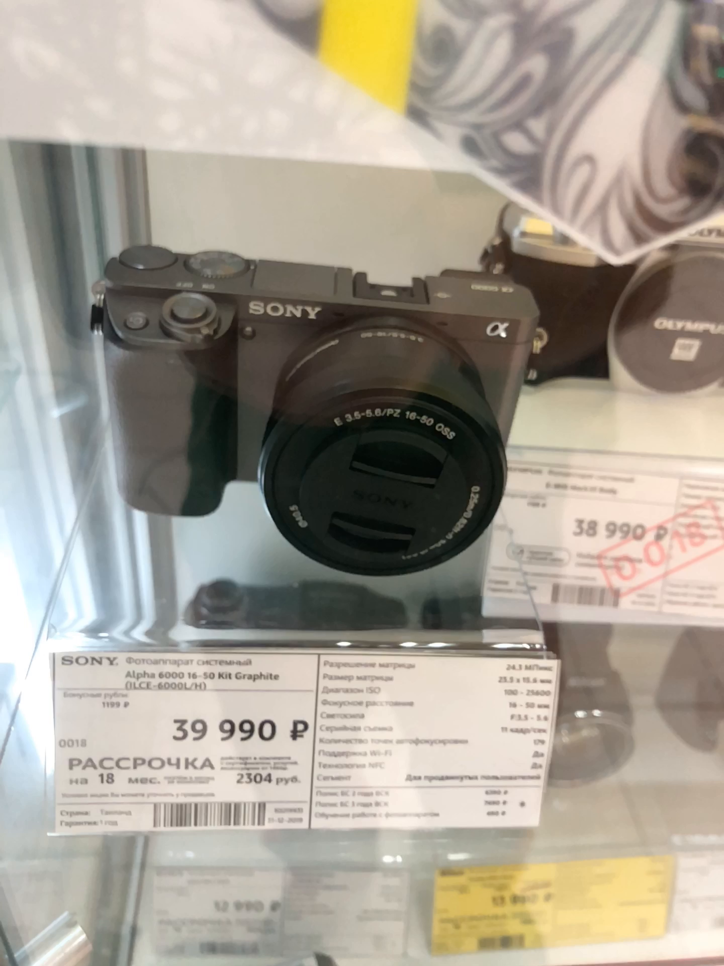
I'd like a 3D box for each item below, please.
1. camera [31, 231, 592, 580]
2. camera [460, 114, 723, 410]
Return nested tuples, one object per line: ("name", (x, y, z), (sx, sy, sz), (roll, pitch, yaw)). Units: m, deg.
("camera", (-0.014, -0.023, 0.237), (0.130, 0.070, 0.067), (2, 37, -4))
("camera", (0.112, -0.090, 0.330), (0.122, 0.081, 0.088), (2, 37, -4))
